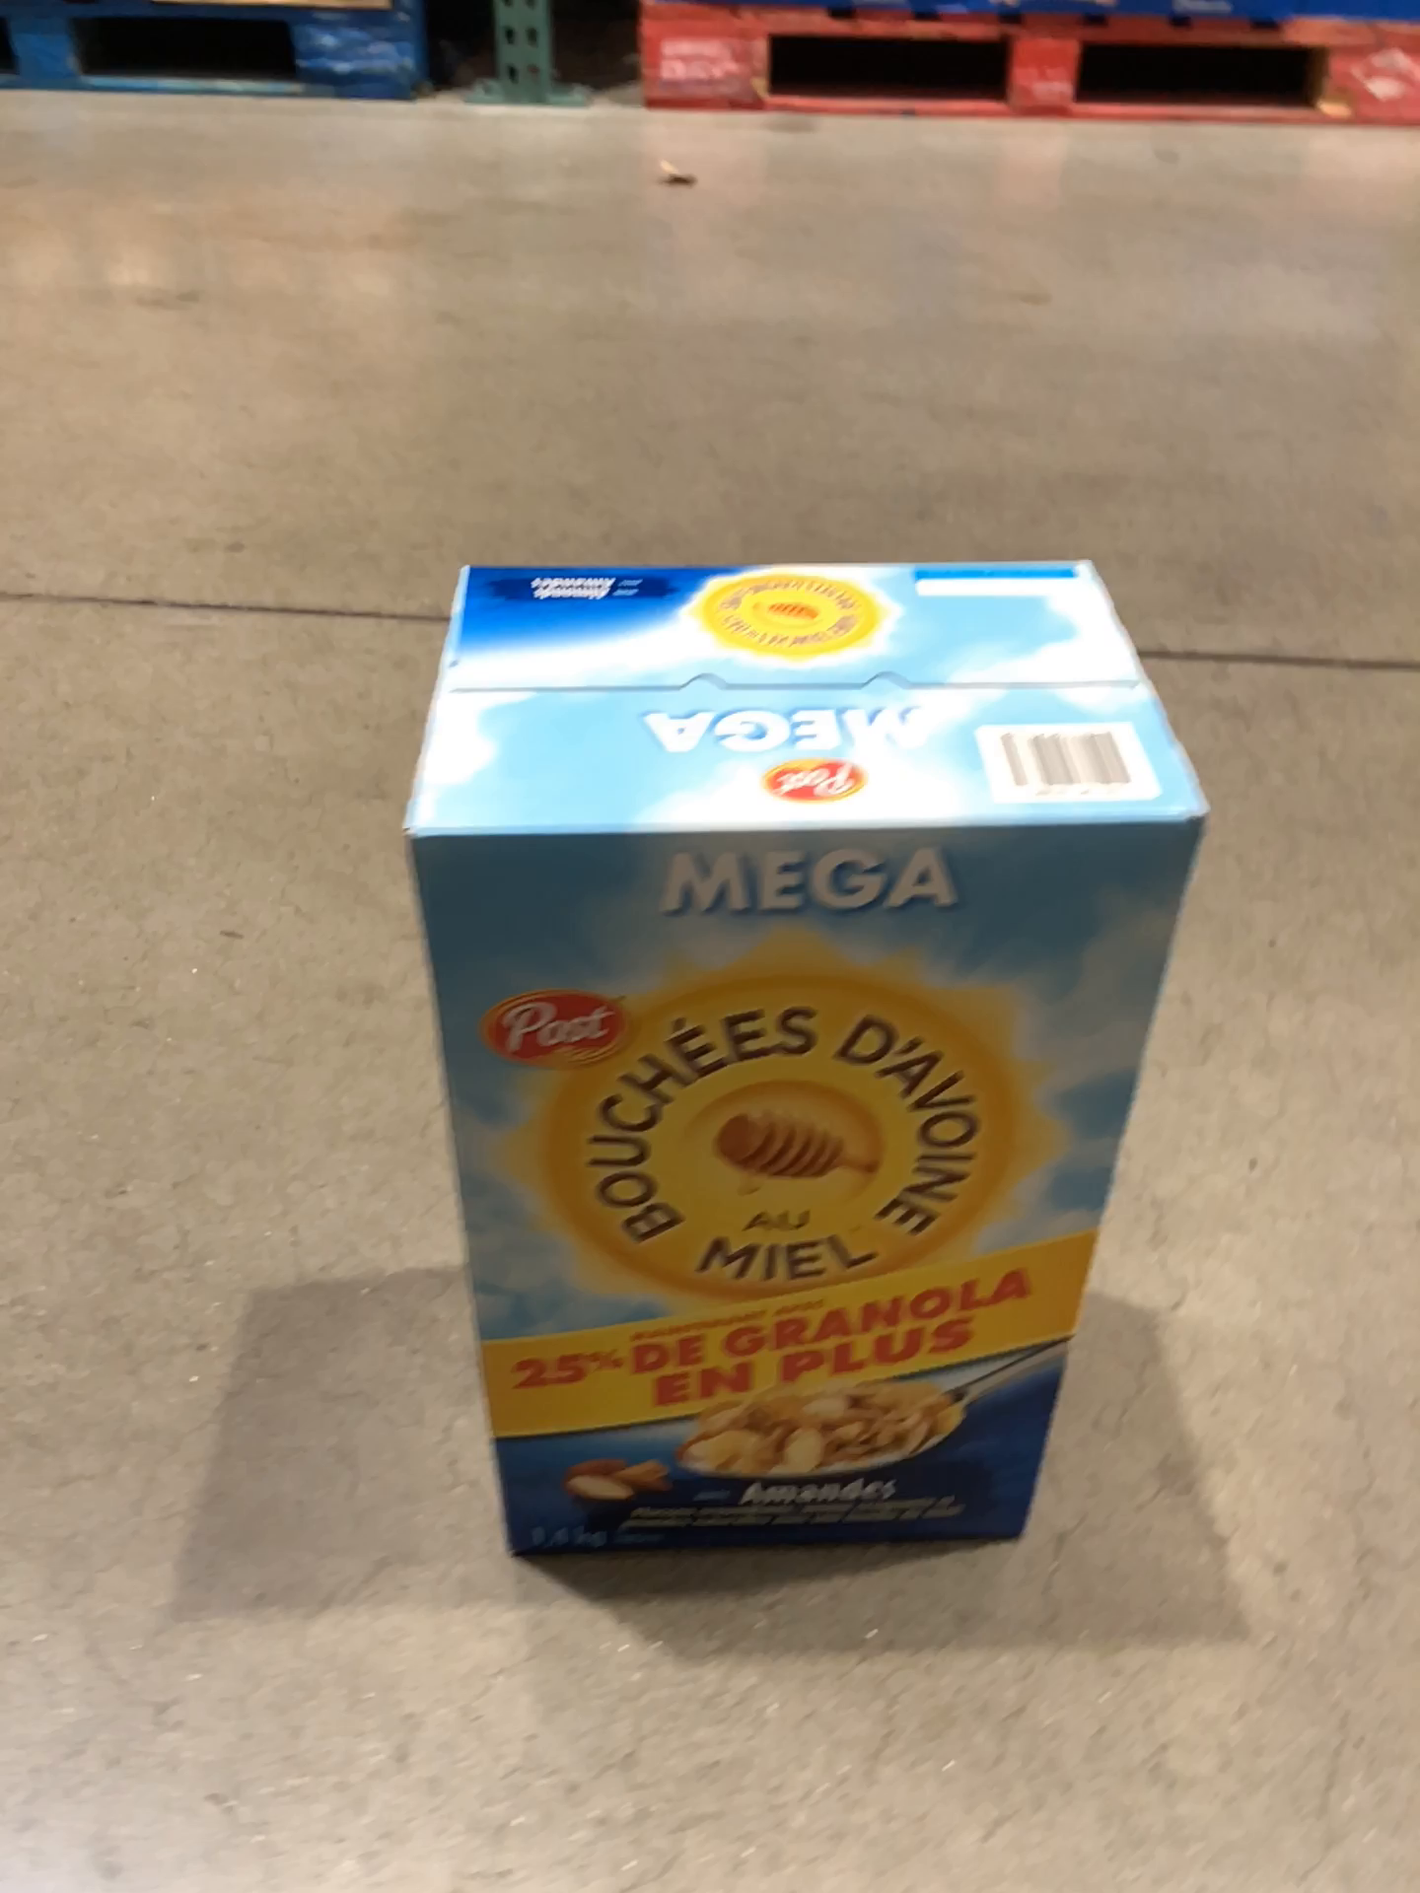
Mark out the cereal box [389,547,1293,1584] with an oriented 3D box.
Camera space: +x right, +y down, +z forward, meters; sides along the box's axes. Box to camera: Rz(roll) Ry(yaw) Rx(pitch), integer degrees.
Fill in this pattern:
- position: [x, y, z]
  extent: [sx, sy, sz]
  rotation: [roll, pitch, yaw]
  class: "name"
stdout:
- position: [0.027, 0.054, 0.526]
  extent: [0.210, 0.329, 0.151]
  rotation: [-1, 40, -2]
  class: "cereal box"
